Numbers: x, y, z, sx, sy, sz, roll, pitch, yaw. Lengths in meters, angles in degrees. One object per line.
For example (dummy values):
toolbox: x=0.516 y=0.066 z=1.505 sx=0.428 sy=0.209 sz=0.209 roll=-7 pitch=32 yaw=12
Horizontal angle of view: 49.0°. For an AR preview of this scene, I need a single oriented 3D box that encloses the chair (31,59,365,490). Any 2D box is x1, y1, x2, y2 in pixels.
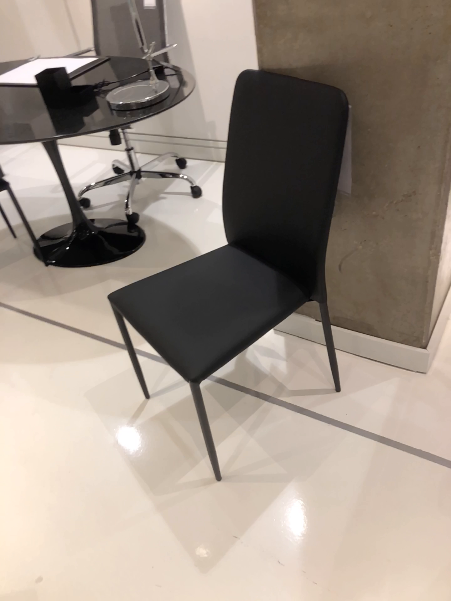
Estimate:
chair: x=-0.012 y=-0.063 z=1.311 sx=0.541 sy=0.884 sz=0.472 roll=-30 pitch=42 yaw=-22
